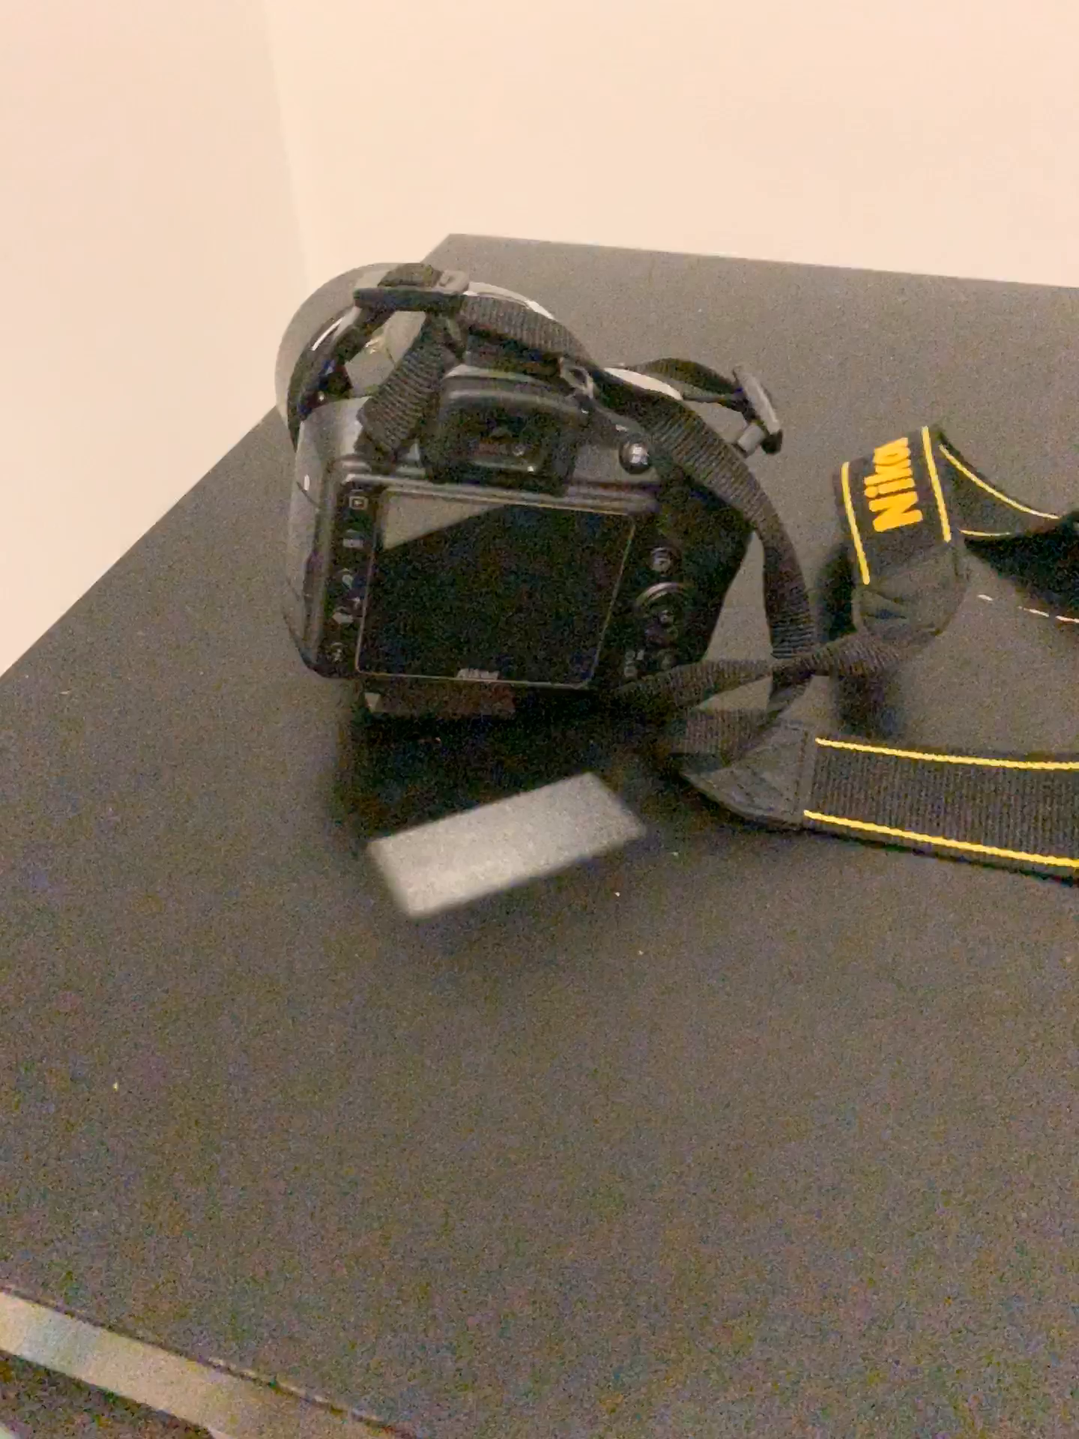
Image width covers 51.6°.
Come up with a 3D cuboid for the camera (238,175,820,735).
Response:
[{"bbox_3d":[-0.026,-0.097,0.362,0.116,0.089,0.221,3,33,-21],"label":"camera"}]
